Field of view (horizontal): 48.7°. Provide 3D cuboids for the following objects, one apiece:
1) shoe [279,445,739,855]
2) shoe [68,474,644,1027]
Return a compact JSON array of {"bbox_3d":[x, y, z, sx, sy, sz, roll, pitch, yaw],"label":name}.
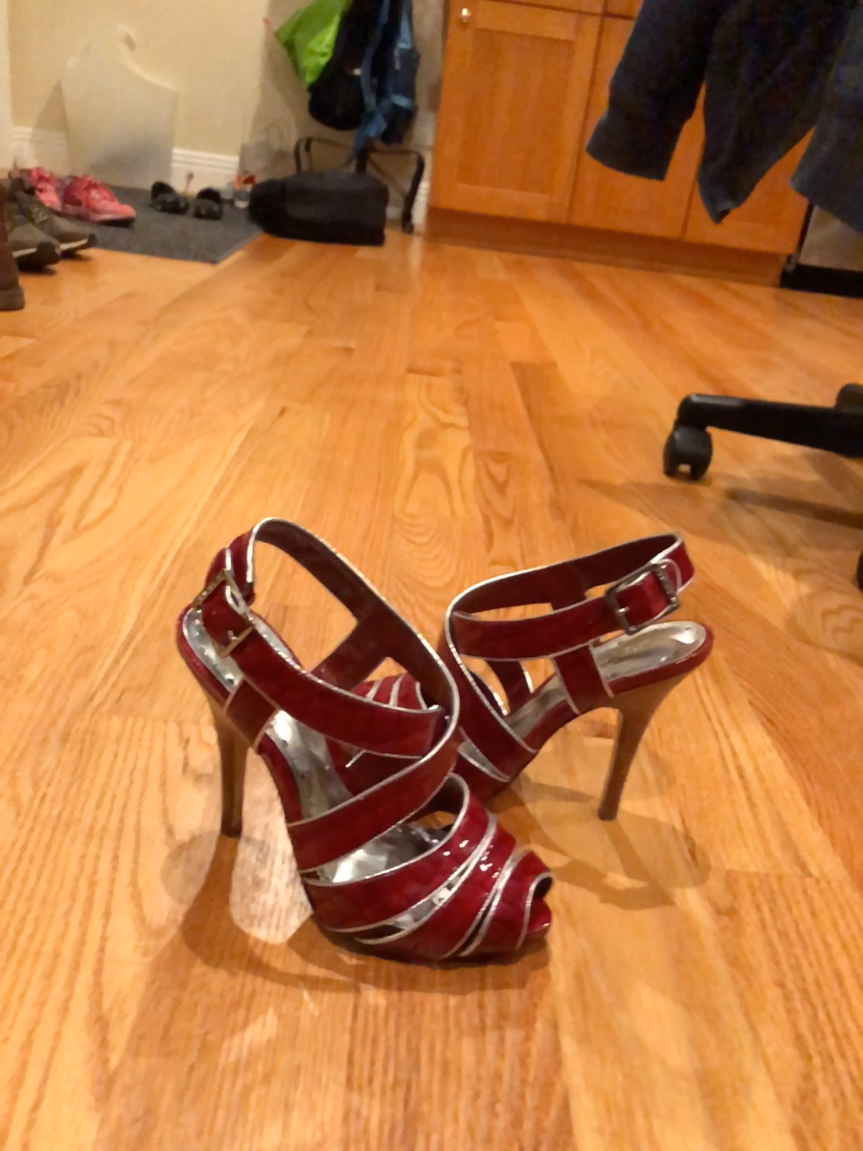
[{"bbox_3d":[0.035,0.031,0.479,0.193,0.141,0.092,12,24,9],"label":"shoe"},{"bbox_3d":[-0.032,0.063,0.390,0.198,0.151,0.092,13,24,12],"label":"shoe"}]
